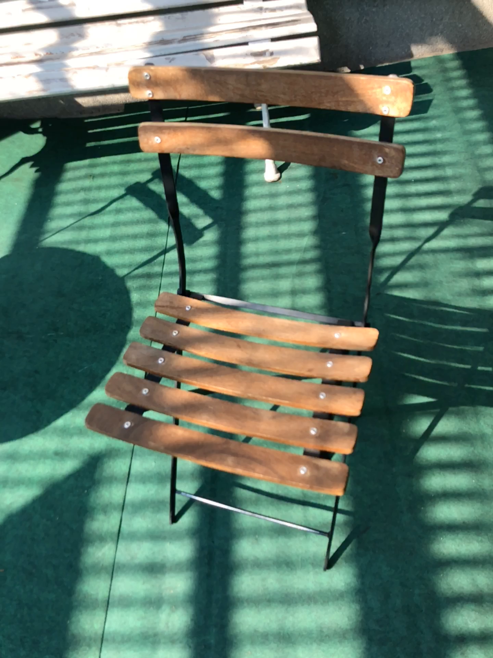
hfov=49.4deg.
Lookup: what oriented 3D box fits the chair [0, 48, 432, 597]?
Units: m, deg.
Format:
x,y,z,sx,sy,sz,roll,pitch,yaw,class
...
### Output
x,y,z,sx,sy,sz,roll,pitch,yaw,class
-0.014,0.037,0.767,0.390,0.657,0.402,11,54,16,chair
